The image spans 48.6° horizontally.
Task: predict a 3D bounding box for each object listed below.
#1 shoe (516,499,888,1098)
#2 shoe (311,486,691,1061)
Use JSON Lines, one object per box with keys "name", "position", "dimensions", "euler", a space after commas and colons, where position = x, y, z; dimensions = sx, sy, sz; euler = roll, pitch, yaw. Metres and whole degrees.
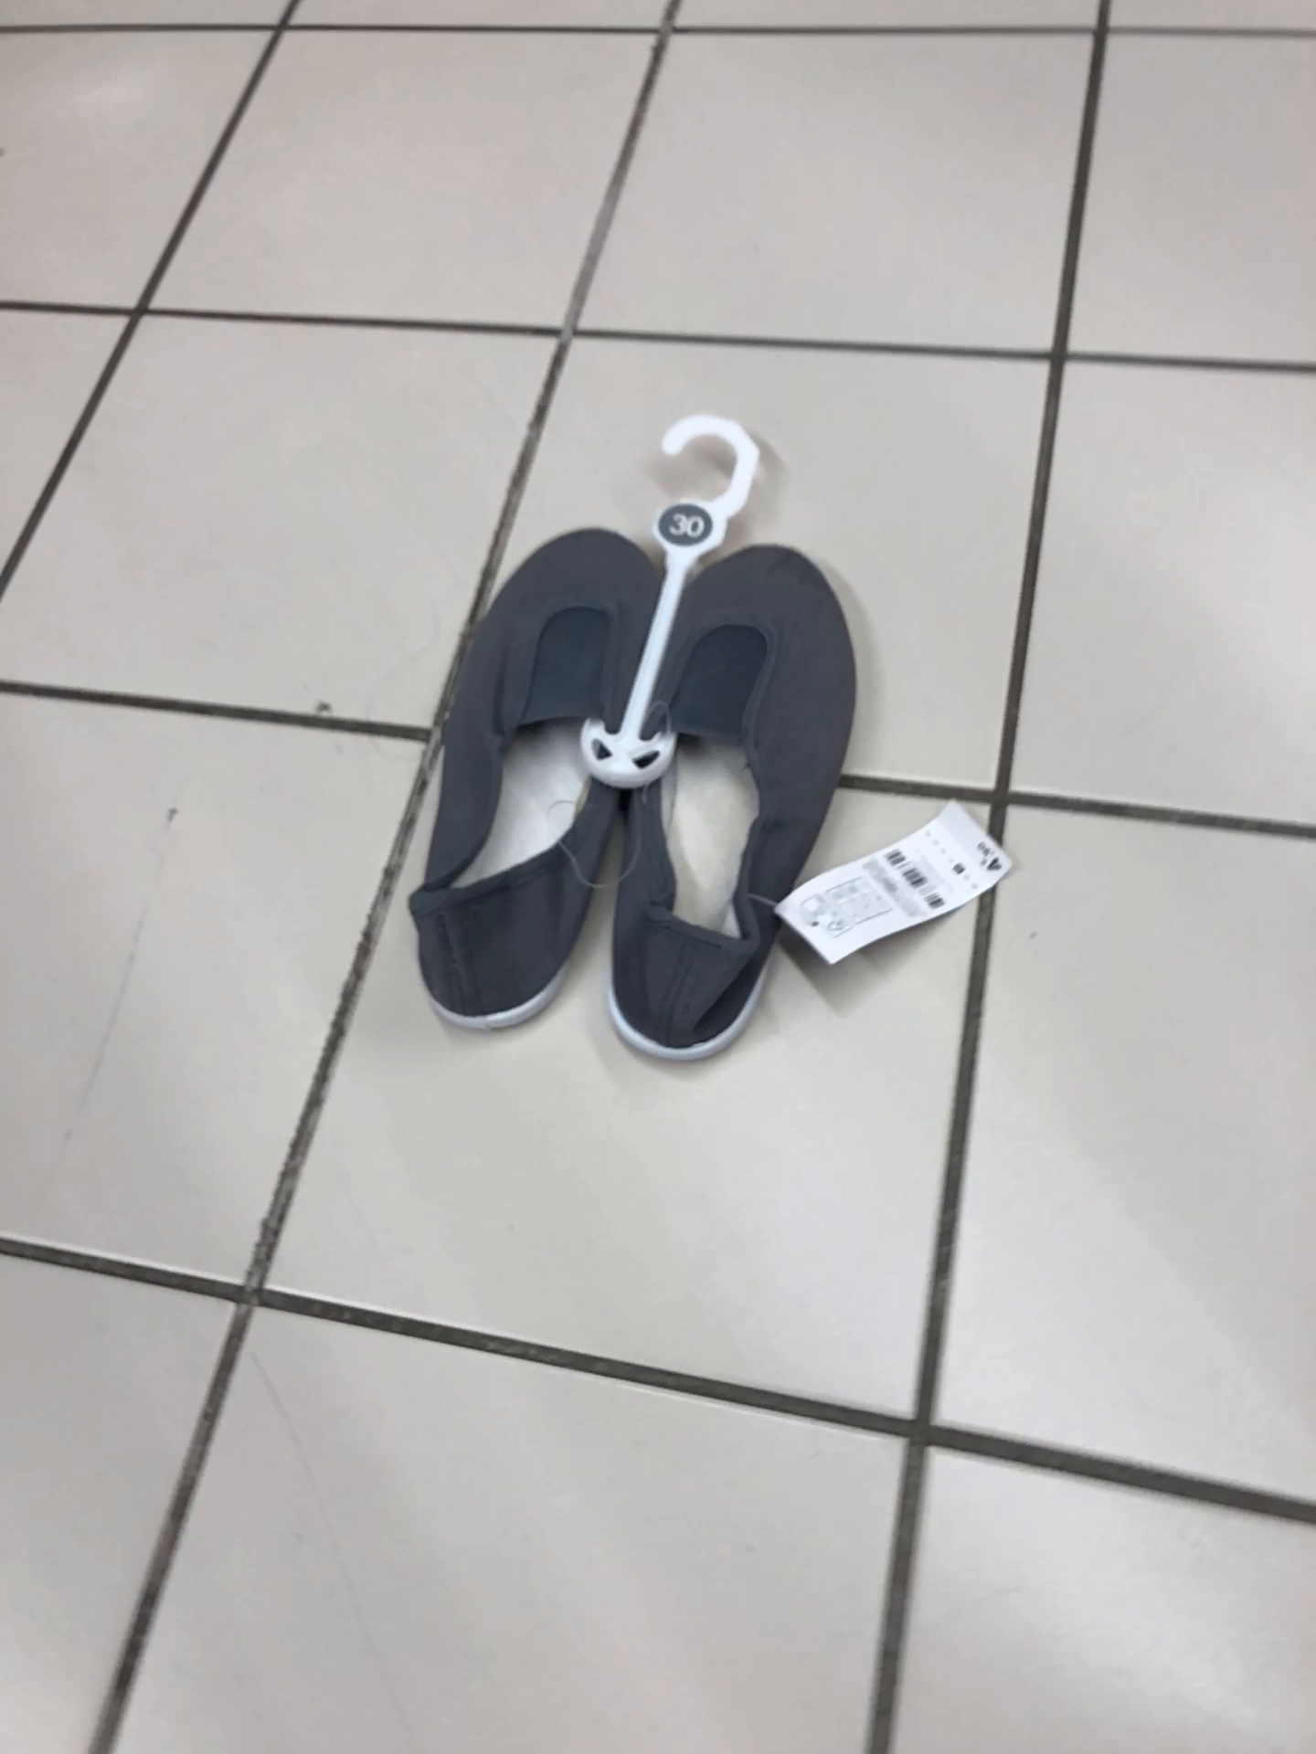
{"name": "shoe", "position": [0.021, -0.031, 0.465], "dimensions": [0.077, 0.046, 0.186], "euler": [8, 64, 13]}
{"name": "shoe", "position": [-0.045, -0.040, 0.480], "dimensions": [0.070, 0.046, 0.186], "euler": [8, 64, 12]}
